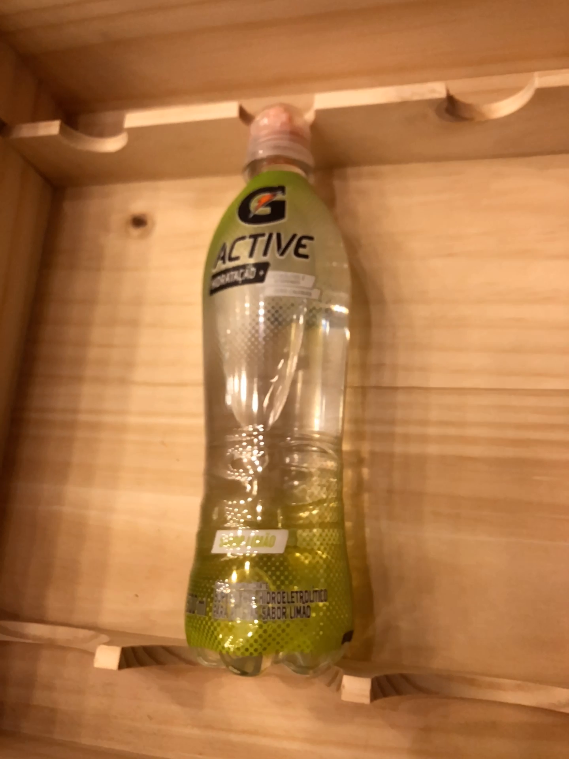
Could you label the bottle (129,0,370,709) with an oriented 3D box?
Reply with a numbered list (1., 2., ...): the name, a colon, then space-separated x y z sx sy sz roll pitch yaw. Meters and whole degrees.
1. bottle: -0.003 -0.020 0.269 0.070 0.070 0.270 -2 72 12
